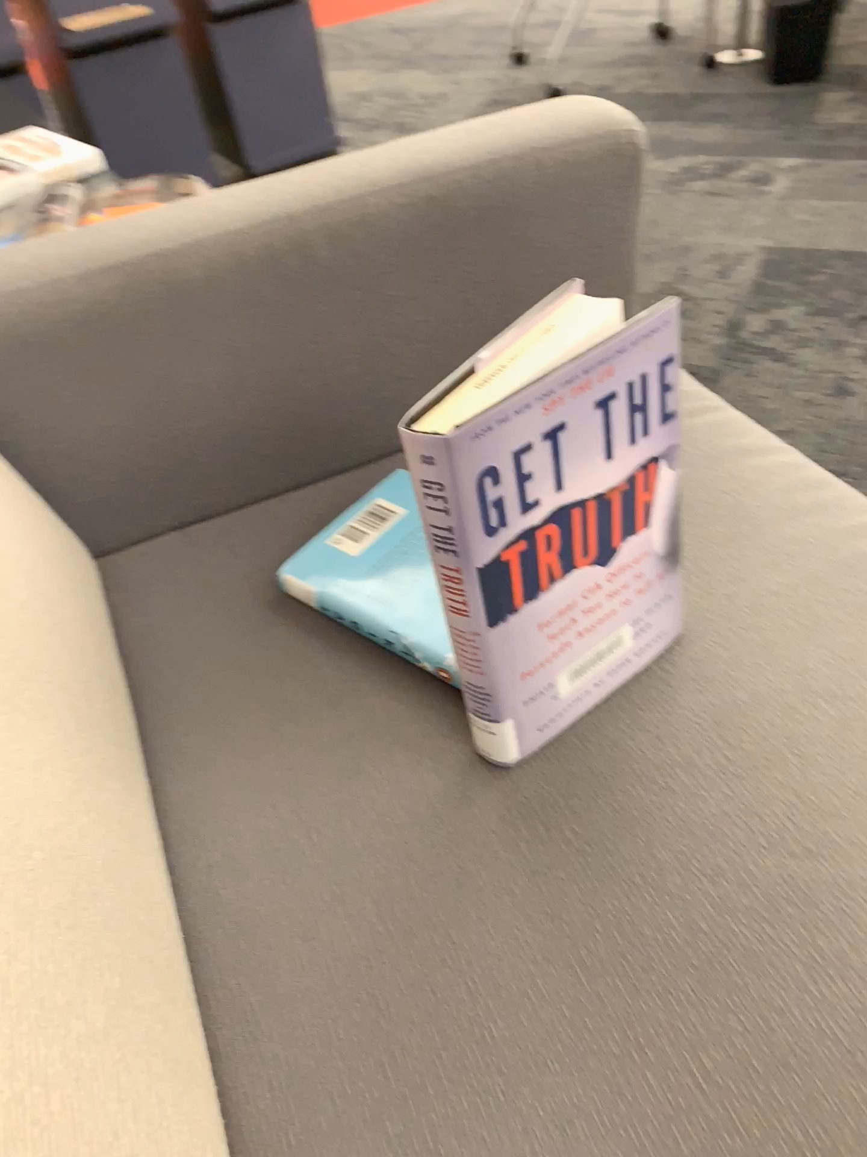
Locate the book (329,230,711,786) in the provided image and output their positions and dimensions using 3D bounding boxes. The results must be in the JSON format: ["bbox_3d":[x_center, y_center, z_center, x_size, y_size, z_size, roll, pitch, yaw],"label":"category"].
[{"bbox_3d":[0.057,-0.031,0.447,0.160,0.219,0.070,-35,44,-25],"label":"book"}]

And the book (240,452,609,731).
[{"bbox_3d":[-0.007,-0.003,0.596,0.200,0.030,0.140,28,54,29],"label":"book"}]
